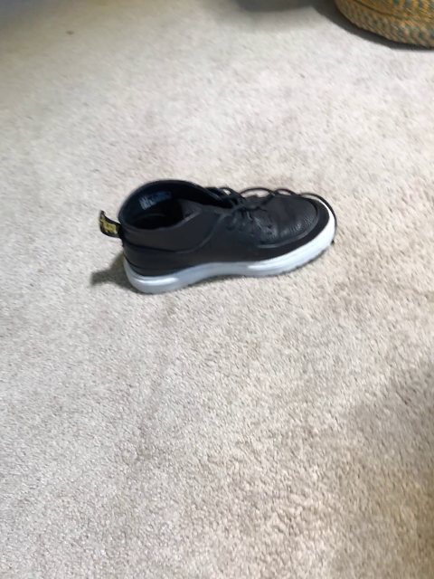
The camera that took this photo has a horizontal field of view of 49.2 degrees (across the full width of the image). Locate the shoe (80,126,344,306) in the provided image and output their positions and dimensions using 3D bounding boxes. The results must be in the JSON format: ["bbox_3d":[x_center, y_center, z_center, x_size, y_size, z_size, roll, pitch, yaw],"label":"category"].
[{"bbox_3d":[-0.007,-0.079,0.536,0.262,0.111,0.107,-11,58,1],"label":"shoe"}]
